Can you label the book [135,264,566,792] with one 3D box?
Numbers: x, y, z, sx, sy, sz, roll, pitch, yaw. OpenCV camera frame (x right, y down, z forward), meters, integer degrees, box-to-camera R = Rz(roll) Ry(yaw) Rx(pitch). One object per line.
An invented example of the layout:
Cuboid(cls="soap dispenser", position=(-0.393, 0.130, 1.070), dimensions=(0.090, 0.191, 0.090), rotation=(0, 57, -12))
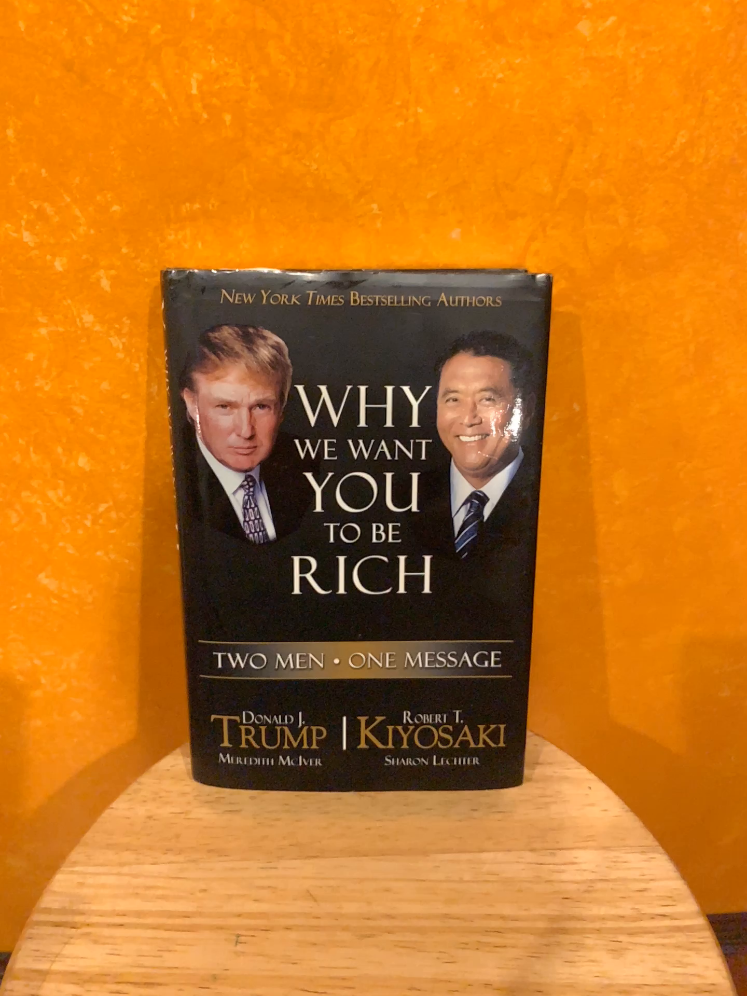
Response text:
Cuboid(cls="book", position=(-0.009, 0.015, 0.318), dimensions=(0.151, 0.210, 0.044), rotation=(1, 15, 0))
